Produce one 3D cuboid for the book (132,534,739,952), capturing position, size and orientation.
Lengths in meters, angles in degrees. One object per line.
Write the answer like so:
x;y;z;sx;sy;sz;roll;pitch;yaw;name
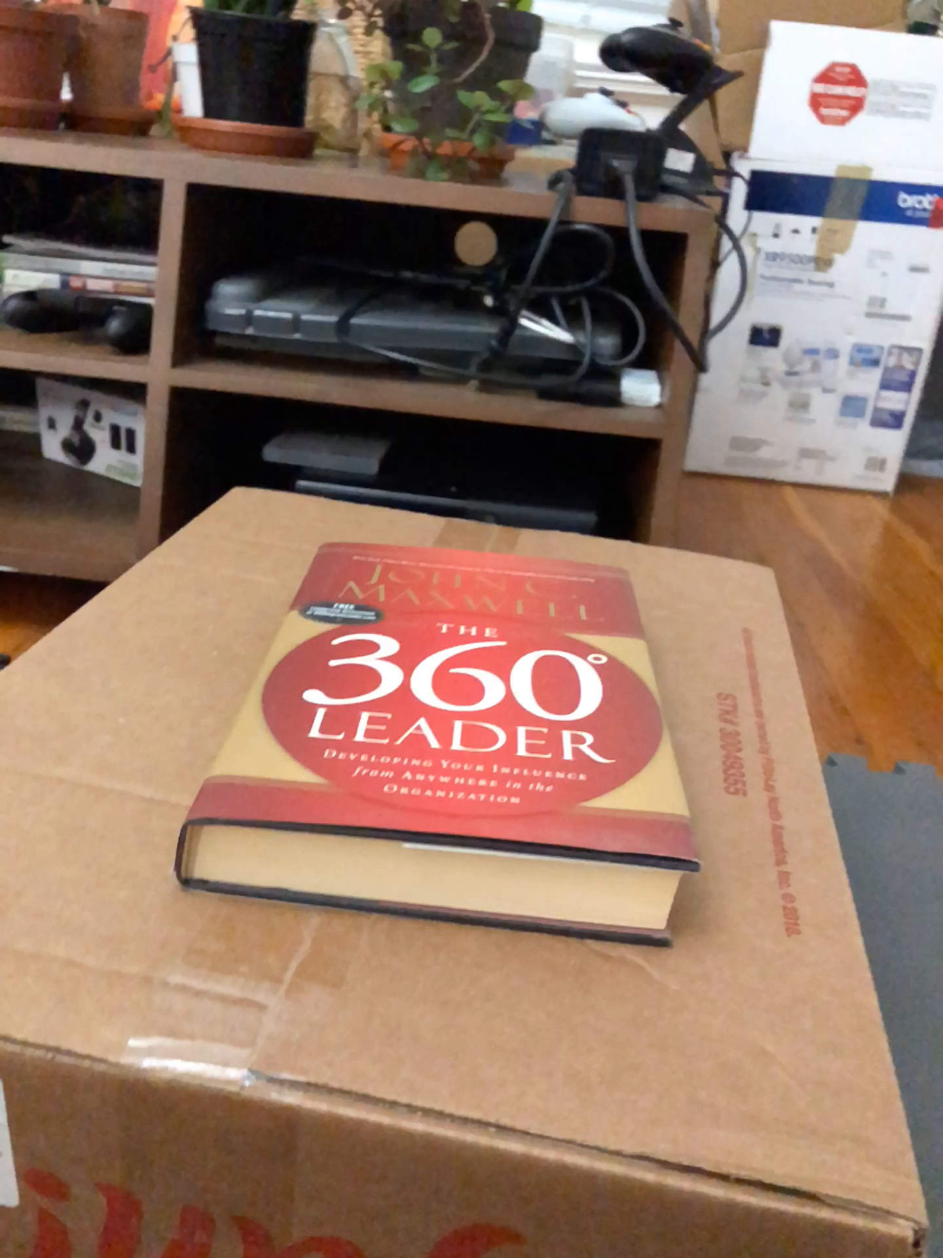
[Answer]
-0.004;0.025;0.423;0.180;0.030;0.241;6;25;1;book
